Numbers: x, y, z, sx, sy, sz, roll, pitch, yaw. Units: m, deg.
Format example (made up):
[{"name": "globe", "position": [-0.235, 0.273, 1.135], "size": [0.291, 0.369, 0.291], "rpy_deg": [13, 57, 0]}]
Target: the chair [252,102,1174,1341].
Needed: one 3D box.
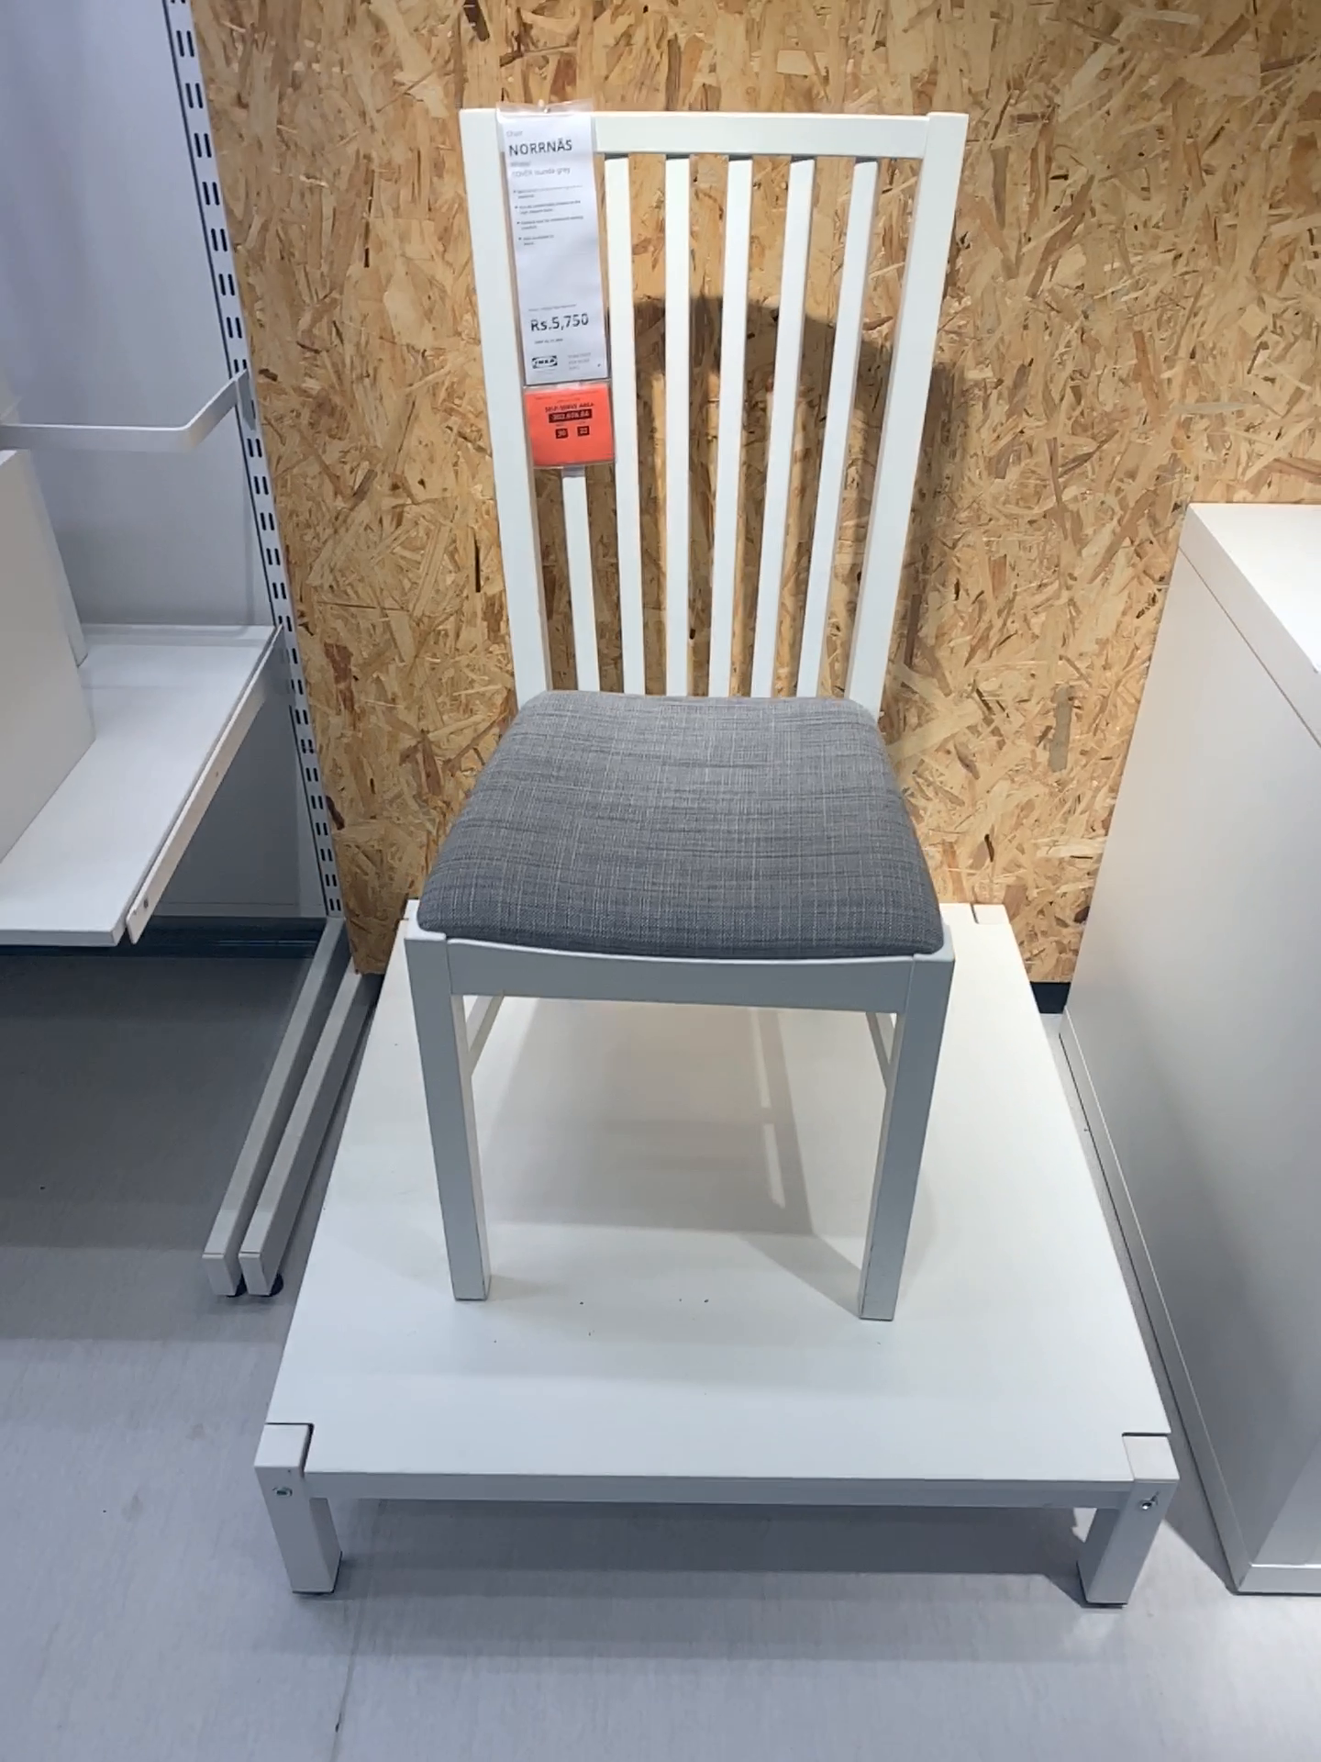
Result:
[{"name": "chair", "position": [0.039, -0.133, 1.188], "size": [0.470, 0.895, 0.593], "rpy_deg": [2, 37, 3]}]
